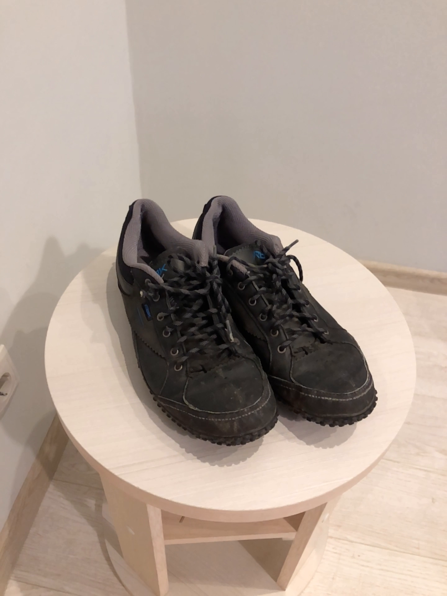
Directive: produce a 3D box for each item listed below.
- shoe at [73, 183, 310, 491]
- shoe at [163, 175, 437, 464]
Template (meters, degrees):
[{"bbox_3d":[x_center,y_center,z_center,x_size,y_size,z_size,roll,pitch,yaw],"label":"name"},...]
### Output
[{"bbox_3d":[-0.046,0.015,0.460,0.110,0.099,0.271,-17,48,-19],"label":"shoe"},{"bbox_3d":[0.051,0.001,0.480,0.110,0.099,0.271,-21,49,-22],"label":"shoe"}]
